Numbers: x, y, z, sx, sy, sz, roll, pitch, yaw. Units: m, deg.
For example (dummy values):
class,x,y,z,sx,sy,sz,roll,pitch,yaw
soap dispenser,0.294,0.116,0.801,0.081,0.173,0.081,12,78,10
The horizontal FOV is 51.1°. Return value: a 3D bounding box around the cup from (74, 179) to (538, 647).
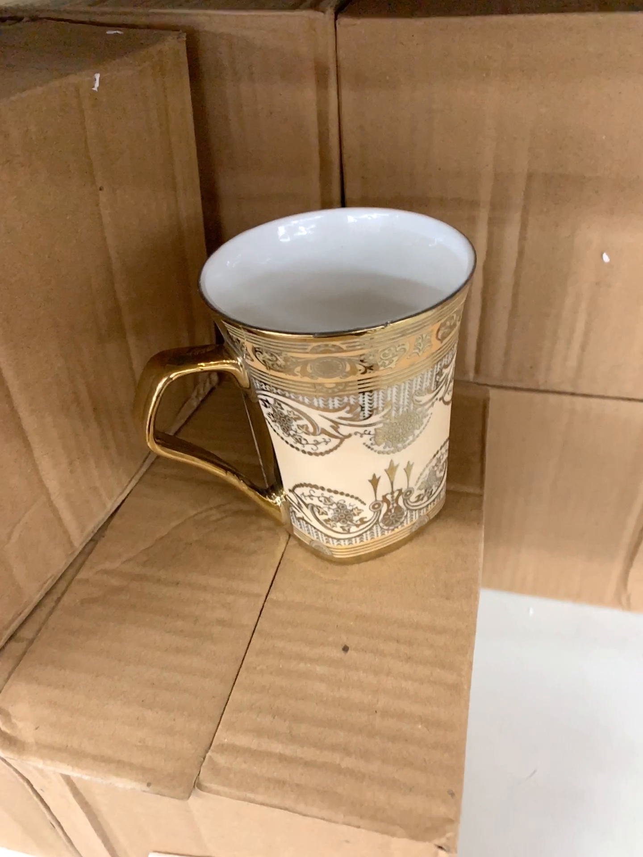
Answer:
class,x,y,z,sx,sy,sz,roll,pitch,yaw
cup,-0.005,-0.011,0.219,0.105,0.092,0.084,-22,43,-19
